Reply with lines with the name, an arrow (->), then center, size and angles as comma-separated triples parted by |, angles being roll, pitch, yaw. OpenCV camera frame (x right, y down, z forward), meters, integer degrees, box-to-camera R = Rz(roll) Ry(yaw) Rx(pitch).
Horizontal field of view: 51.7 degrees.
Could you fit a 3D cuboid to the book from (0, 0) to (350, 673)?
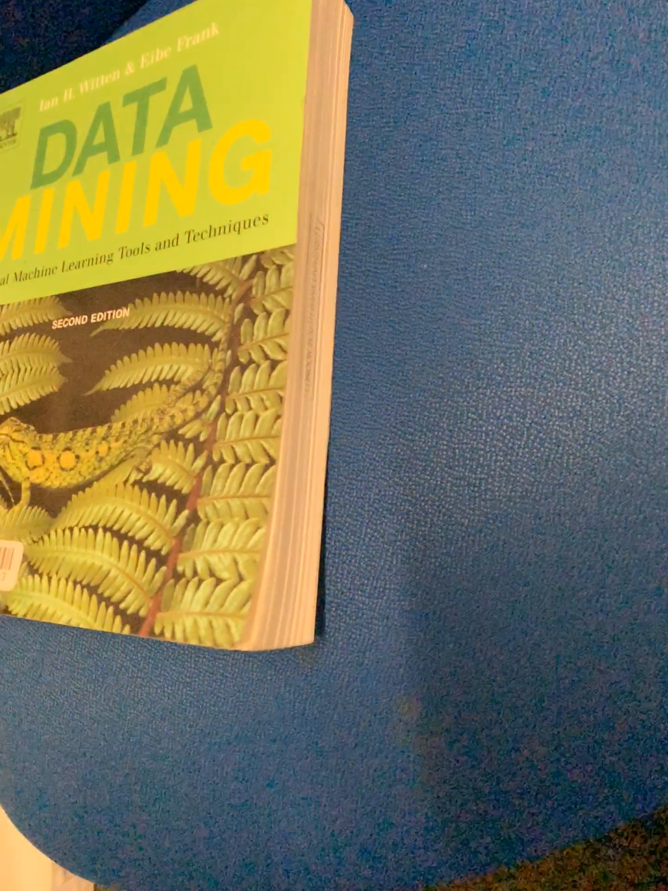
book -> -0.107, -0.051, 0.276 | 0.221, 0.050, 0.240 | -3, 78, 32
